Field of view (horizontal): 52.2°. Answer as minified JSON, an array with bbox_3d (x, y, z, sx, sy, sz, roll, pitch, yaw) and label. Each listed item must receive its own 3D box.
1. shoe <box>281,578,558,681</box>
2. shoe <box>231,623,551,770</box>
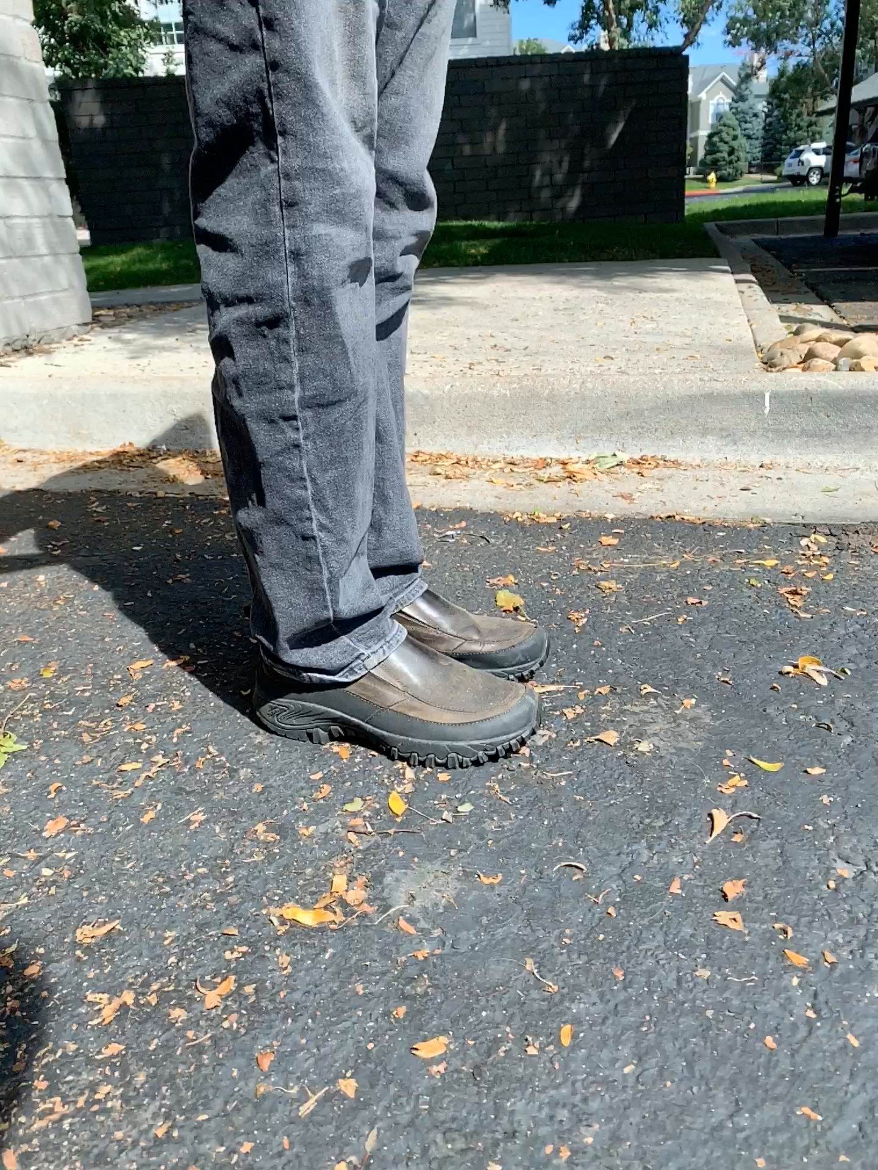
[{"bbox_3d":[-0.017,0.046,1.008,0.290,0.070,0.110,1,21,12],"label":"shoe"},{"bbox_3d":[-0.043,0.104,0.882,0.290,0.070,0.110,4,22,15],"label":"shoe"}]
